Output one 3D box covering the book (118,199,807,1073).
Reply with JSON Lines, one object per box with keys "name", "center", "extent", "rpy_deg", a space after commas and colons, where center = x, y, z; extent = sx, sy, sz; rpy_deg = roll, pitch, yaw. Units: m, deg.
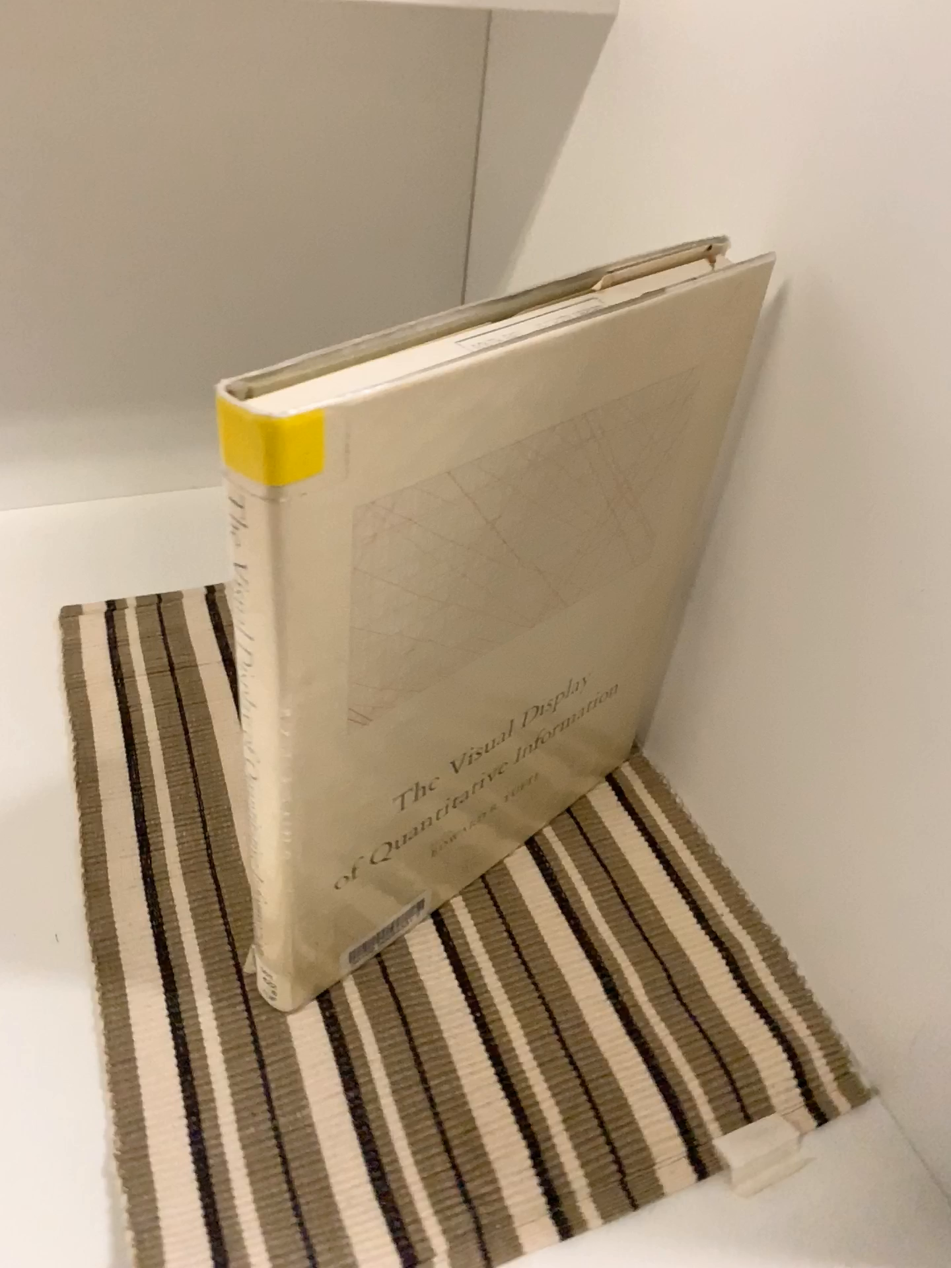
{"name": "book", "center": [0.005, 0.003, 0.384], "extent": [0.040, 0.287, 0.251], "rpy_deg": [35, 47, 30]}
